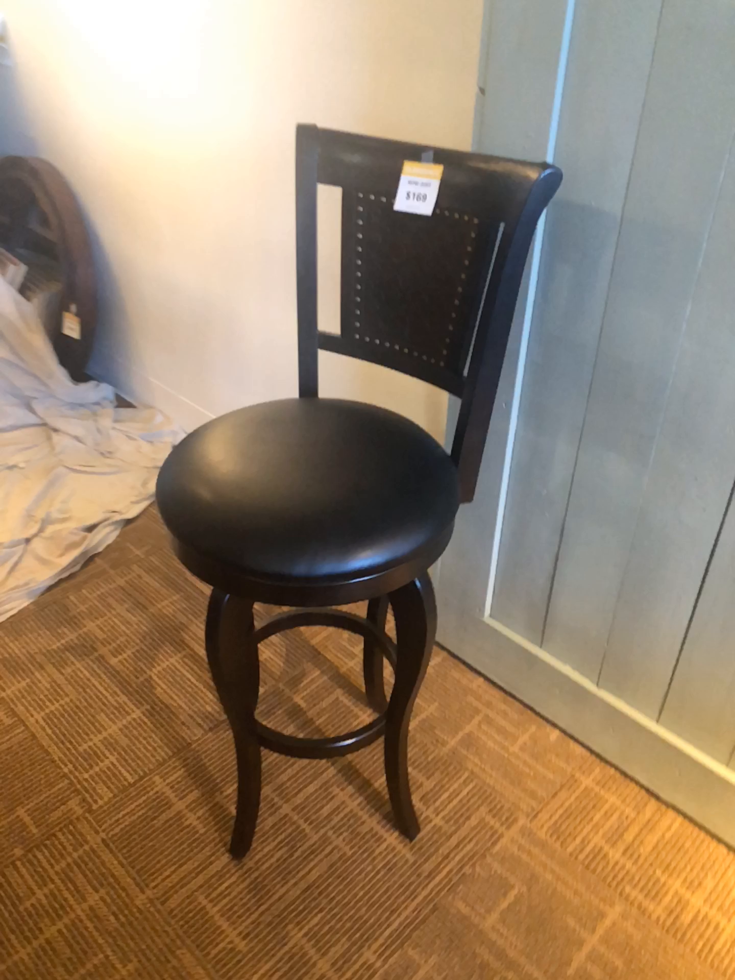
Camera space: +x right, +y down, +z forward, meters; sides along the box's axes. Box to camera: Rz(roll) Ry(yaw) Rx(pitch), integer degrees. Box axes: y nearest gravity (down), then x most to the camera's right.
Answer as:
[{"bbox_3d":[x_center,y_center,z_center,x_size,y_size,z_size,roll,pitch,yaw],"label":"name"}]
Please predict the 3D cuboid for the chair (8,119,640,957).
[{"bbox_3d":[-0.054,0.066,1.374,0.561,1.150,0.612,26,40,32],"label":"chair"}]
